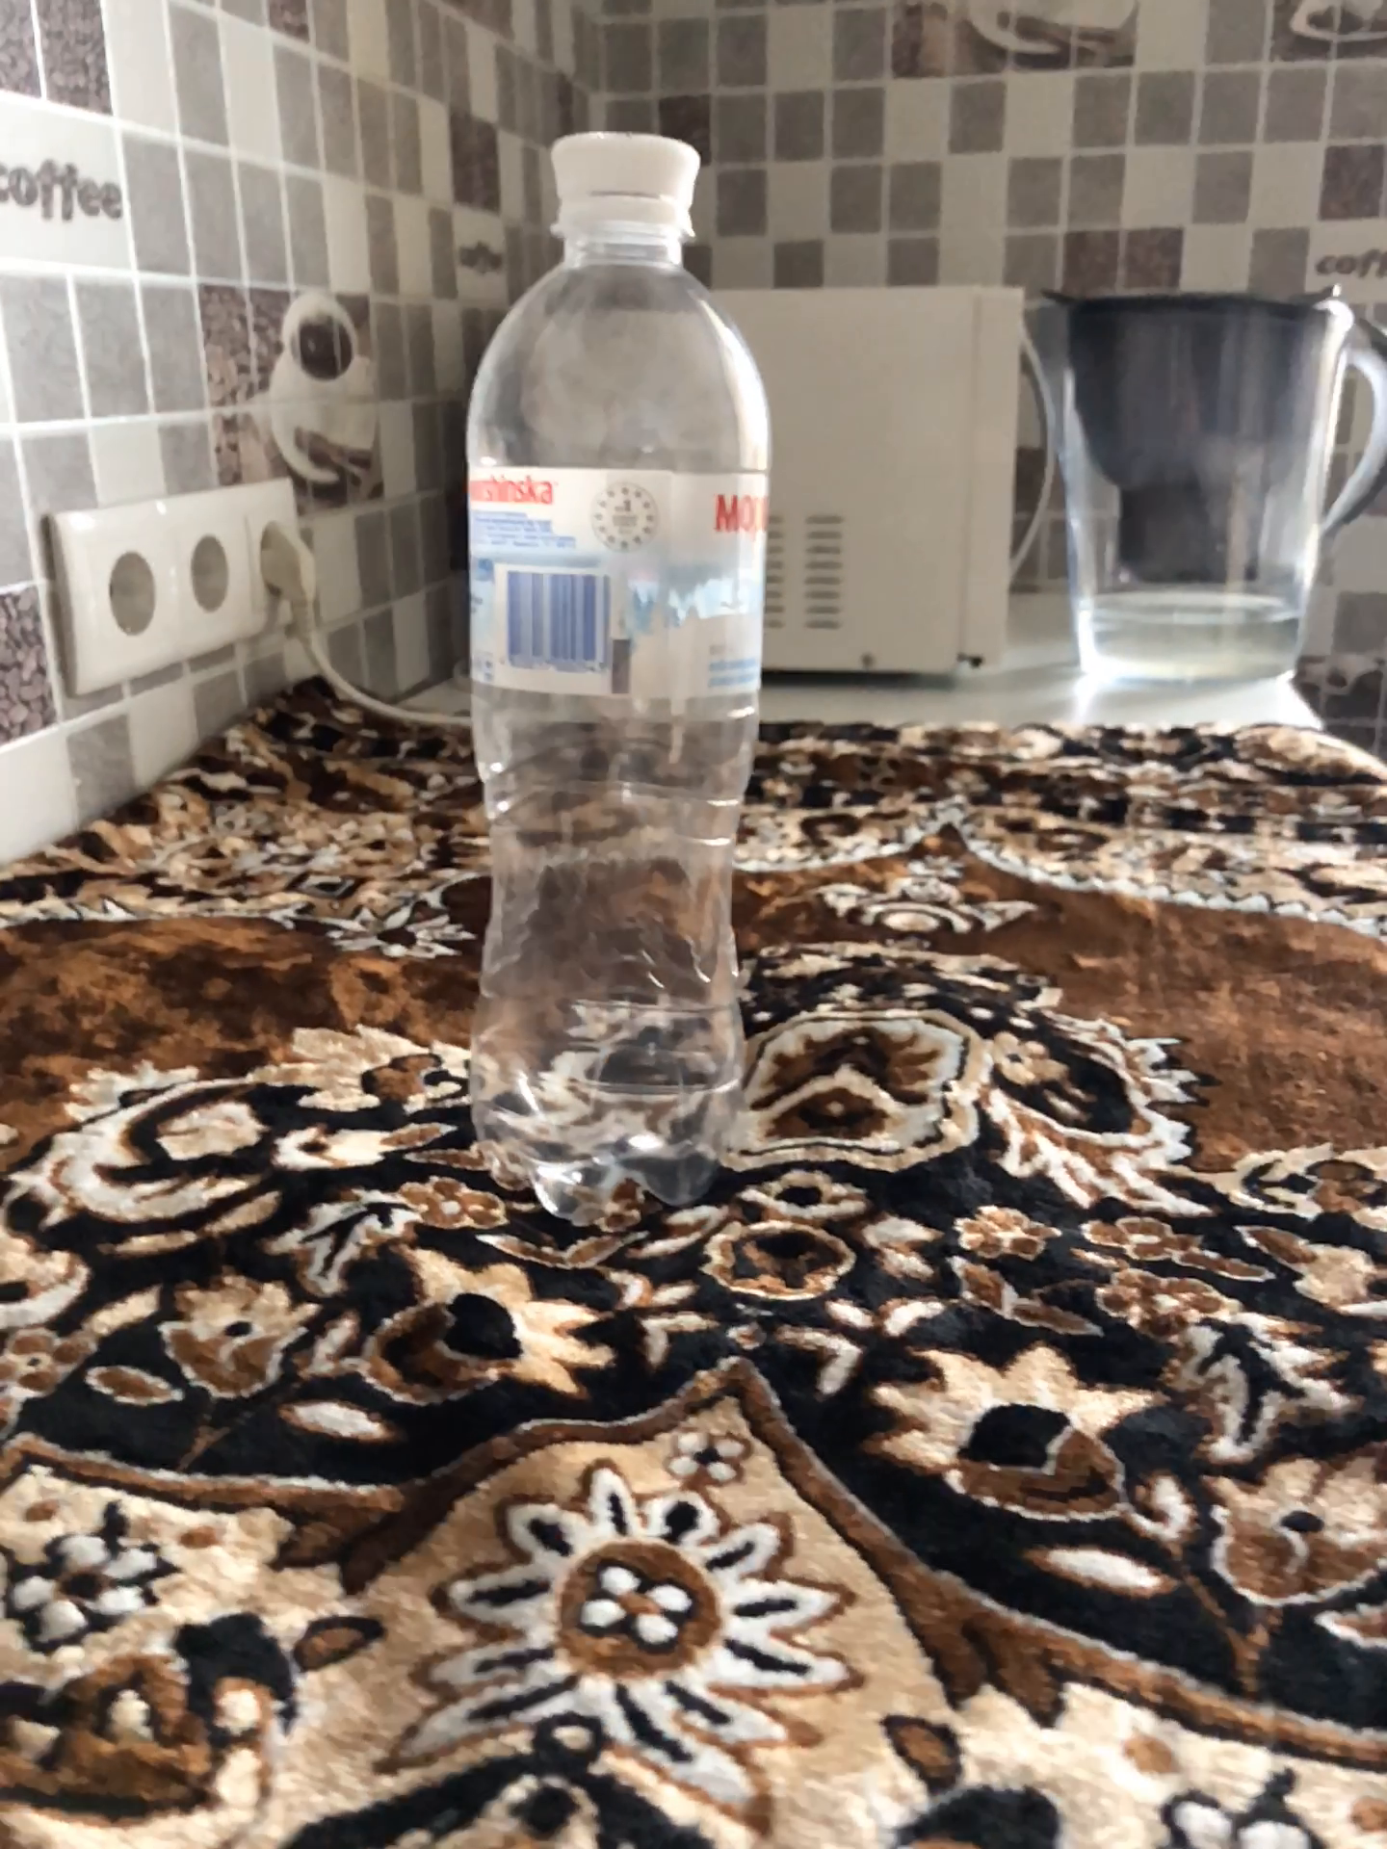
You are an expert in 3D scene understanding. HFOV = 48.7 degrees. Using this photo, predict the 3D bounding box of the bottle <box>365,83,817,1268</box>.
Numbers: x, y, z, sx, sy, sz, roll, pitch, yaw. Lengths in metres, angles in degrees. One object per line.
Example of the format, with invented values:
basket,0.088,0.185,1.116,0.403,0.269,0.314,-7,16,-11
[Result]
bottle,-0.020,-0.055,0.371,0.080,0.249,0.090,4,17,9
